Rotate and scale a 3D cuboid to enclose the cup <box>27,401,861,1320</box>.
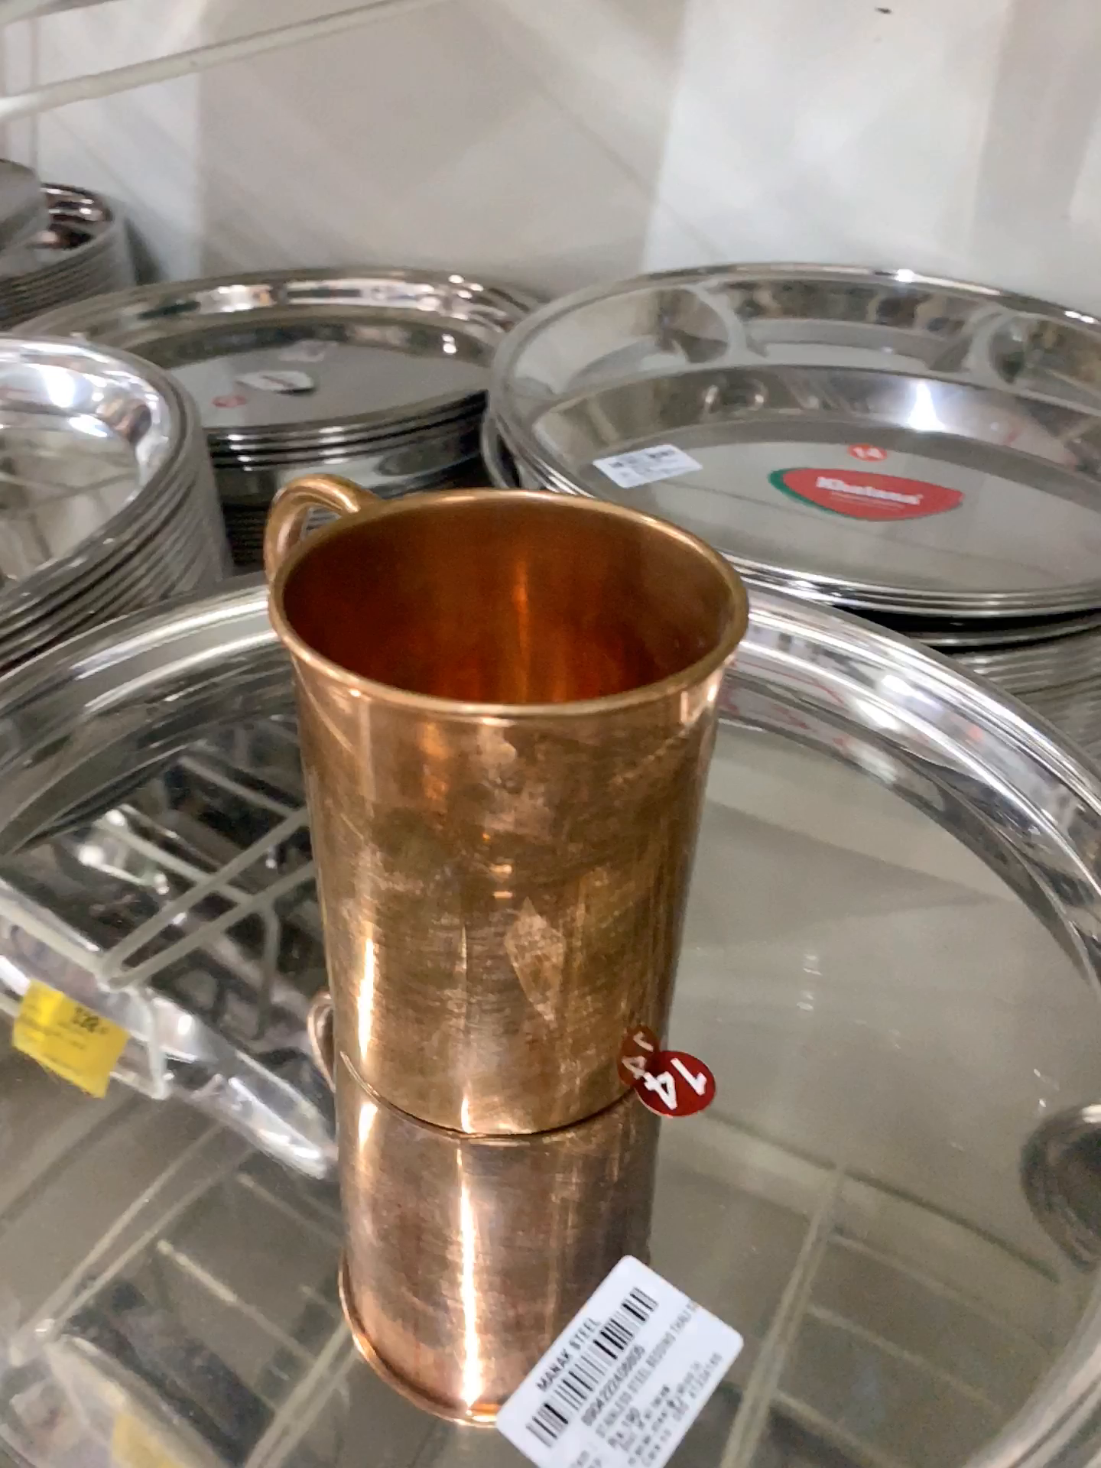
[{"bbox_3d":[-0.023,0.017,0.235,0.130,0.119,0.080,30,47,35],"label":"cup"}]
